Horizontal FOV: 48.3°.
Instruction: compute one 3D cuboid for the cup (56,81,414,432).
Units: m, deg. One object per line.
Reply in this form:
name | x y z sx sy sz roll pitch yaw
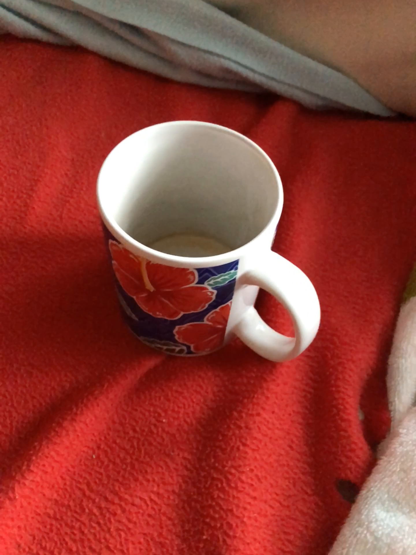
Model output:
cup | 0.009 -0.008 0.233 0.120 0.100 0.090 32 59 12
